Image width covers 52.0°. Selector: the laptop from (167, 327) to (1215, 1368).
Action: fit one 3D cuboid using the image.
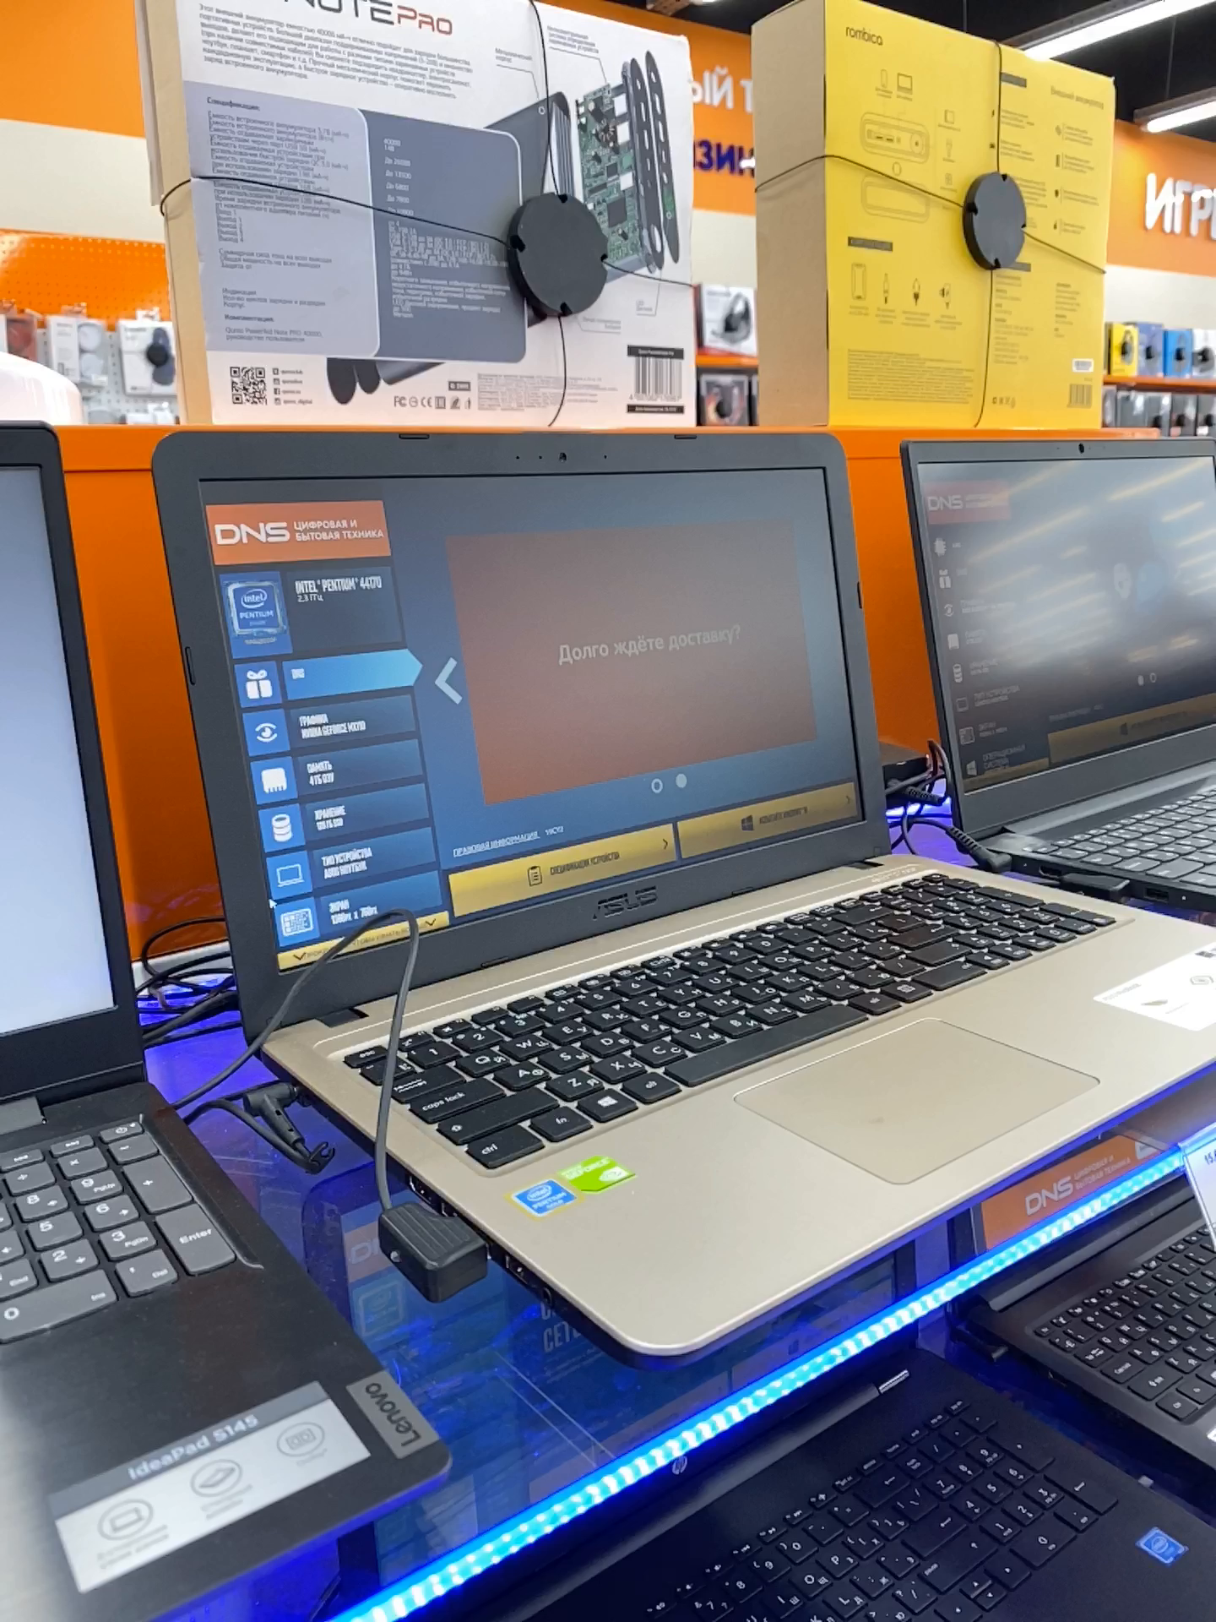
[{"bbox_3d":[0.073,-0.037,0.492,0.376,0.230,0.294,-11,15,-35],"label":"laptop"}]
